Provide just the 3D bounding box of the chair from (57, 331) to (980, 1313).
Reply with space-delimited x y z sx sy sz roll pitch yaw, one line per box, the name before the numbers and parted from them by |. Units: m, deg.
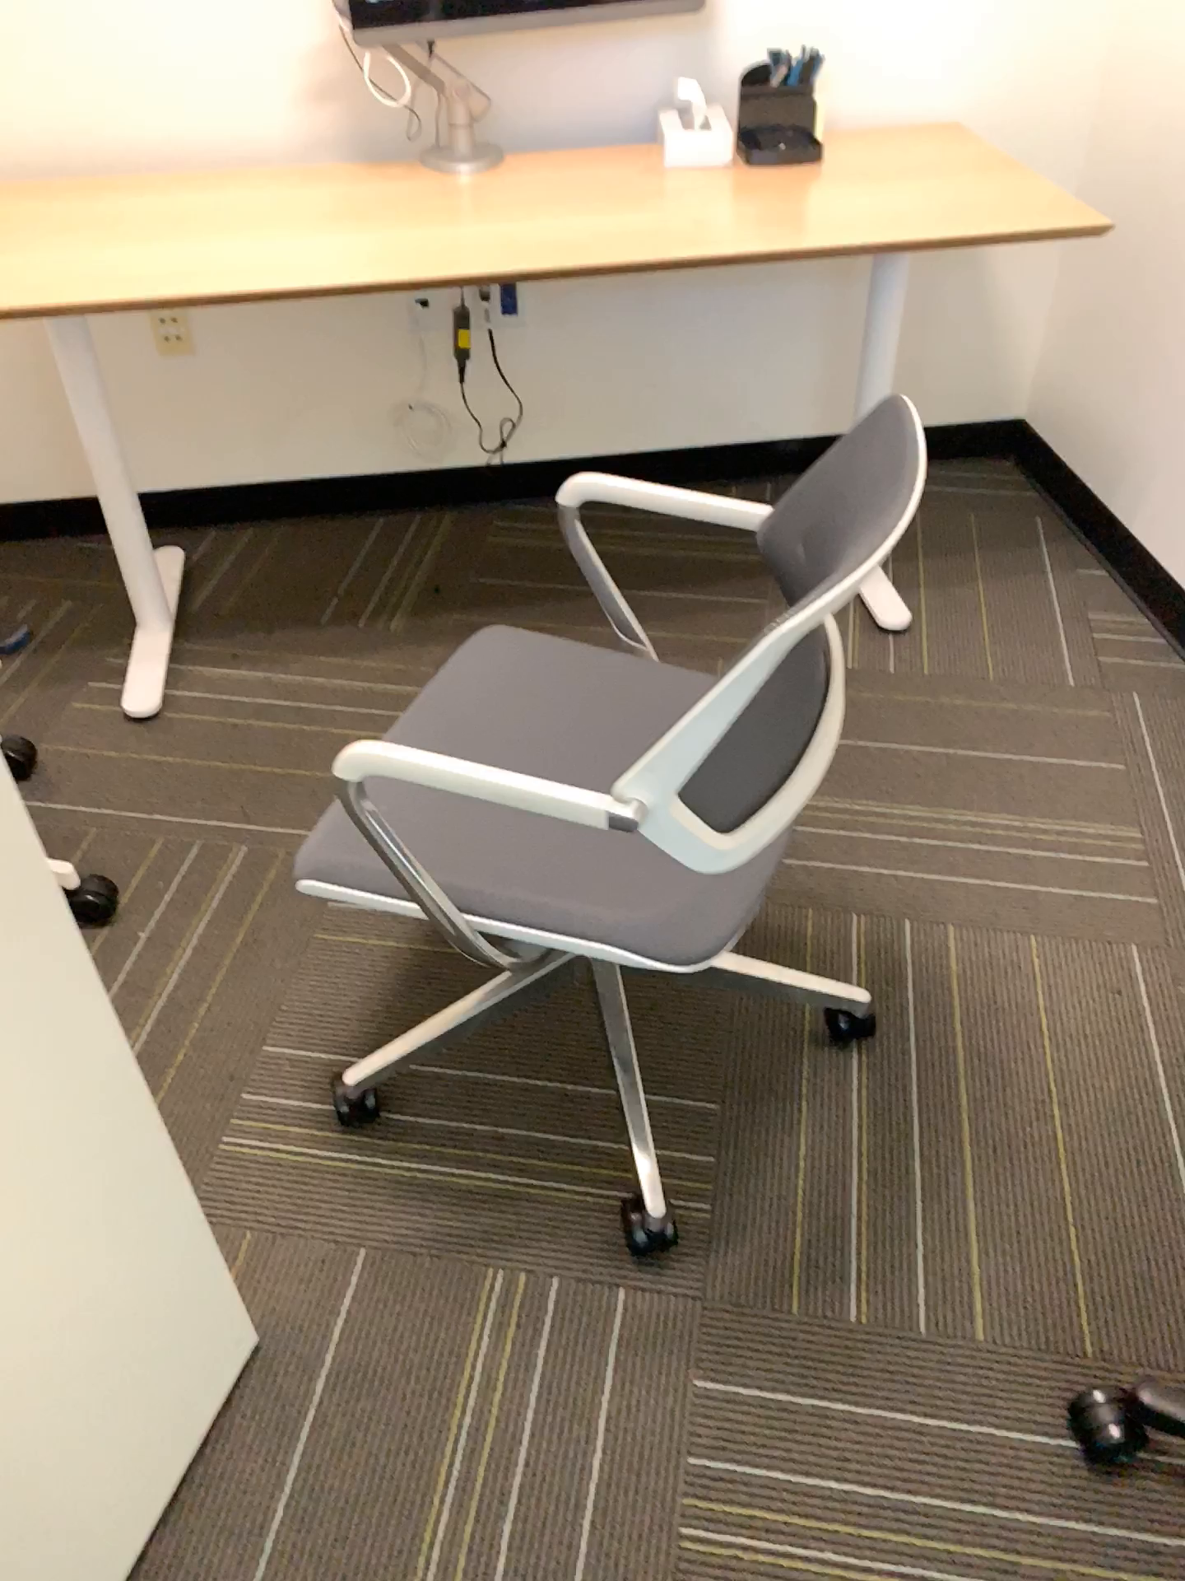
chair | -0.002 0.016 1.177 0.591 0.666 0.553 10 43 11
